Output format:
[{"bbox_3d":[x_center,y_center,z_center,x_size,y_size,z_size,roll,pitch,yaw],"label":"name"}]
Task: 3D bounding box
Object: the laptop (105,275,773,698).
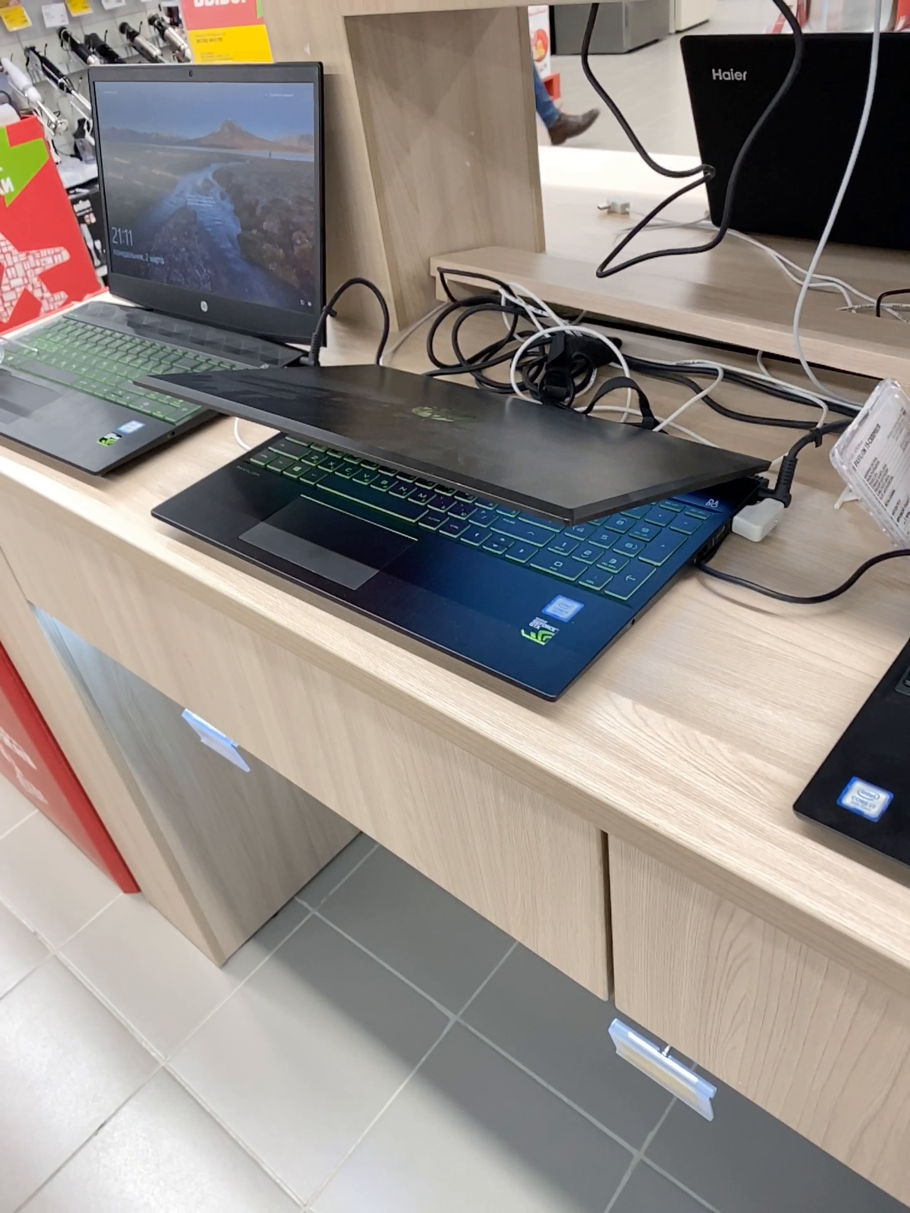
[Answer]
[{"bbox_3d":[-0.016,-0.113,0.625,0.362,0.092,0.242,23,48,33],"label":"laptop"}]
